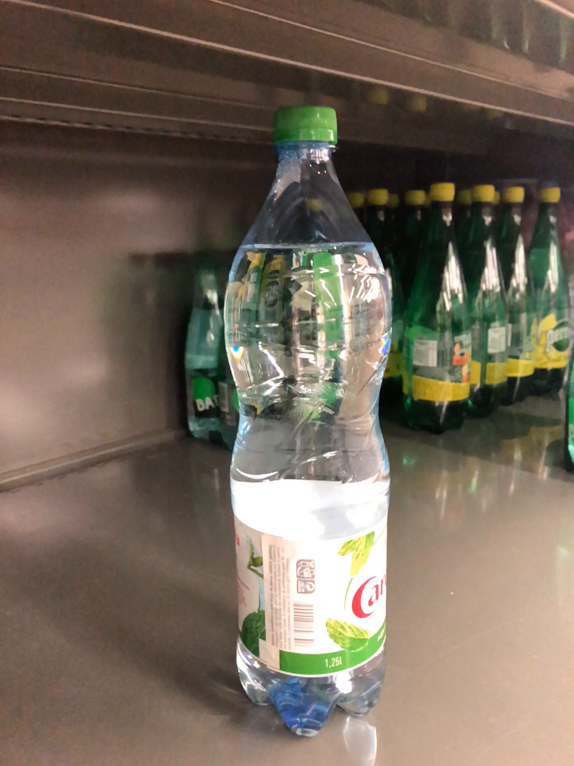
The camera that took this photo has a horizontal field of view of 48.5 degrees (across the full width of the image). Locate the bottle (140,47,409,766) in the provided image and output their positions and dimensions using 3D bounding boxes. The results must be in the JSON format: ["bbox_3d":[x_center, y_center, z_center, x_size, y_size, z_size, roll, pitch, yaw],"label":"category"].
[{"bbox_3d":[0.005,0.020,0.349,0.100,0.339,0.100,-2,13,0],"label":"bottle"}]
